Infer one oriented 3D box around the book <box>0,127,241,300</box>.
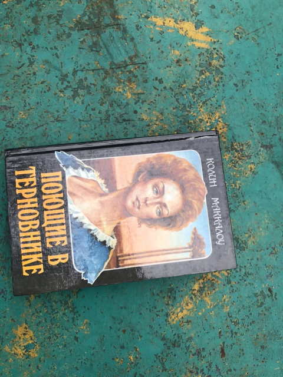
[{"bbox_3d":[-0.021,0.020,0.304,0.208,0.032,0.138,-5,84,-4],"label":"book"}]
